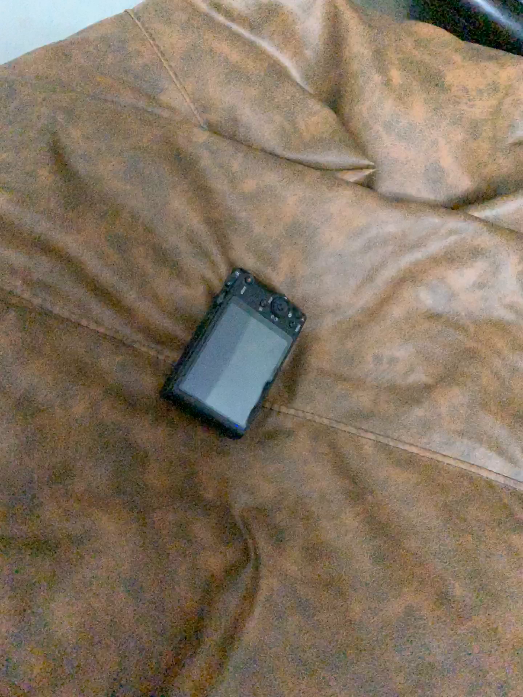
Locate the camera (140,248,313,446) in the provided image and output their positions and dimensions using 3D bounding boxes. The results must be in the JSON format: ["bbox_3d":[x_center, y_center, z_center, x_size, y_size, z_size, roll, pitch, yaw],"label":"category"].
[{"bbox_3d":[-0.019,-0.001,0.323,0.060,0.024,0.100,32,72,-11],"label":"camera"}]
